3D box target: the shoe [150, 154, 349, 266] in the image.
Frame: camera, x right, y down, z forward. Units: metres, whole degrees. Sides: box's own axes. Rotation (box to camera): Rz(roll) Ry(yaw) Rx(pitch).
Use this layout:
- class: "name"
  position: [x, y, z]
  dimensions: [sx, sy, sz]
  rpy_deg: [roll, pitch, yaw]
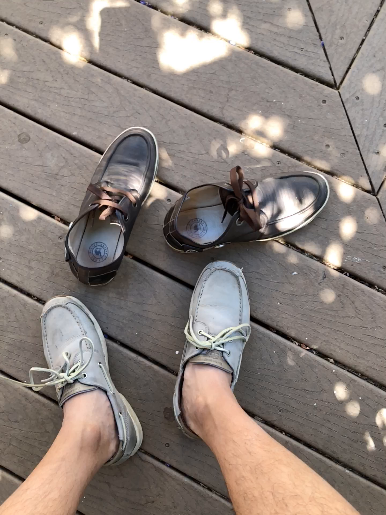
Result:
- class: "shoe"
  position: [0.083, -0.069, 0.668]
  dimensions: [0.277, 0.080, 0.109]
  rpy_deg: [-11, 86, 3]

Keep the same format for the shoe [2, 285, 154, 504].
- class: "shoe"
  position: [-0.173, 0.200, 0.660]
  dimensions: [0.109, 0.086, 0.292]
  rpy_deg: [-24, 86, 1]

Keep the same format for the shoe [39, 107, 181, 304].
- class: "shoe"
  position: [-0.128, -0.078, 0.676]
  dimensions: [0.109, 0.069, 0.278]
  rpy_deg: [23, 90, 4]

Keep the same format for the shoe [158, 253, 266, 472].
- class: "shoe"
  position: [0.030, 0.149, 0.654]
  dimensions: [0.109, 0.101, 0.293]
  rpy_deg: [9, 87, 4]
